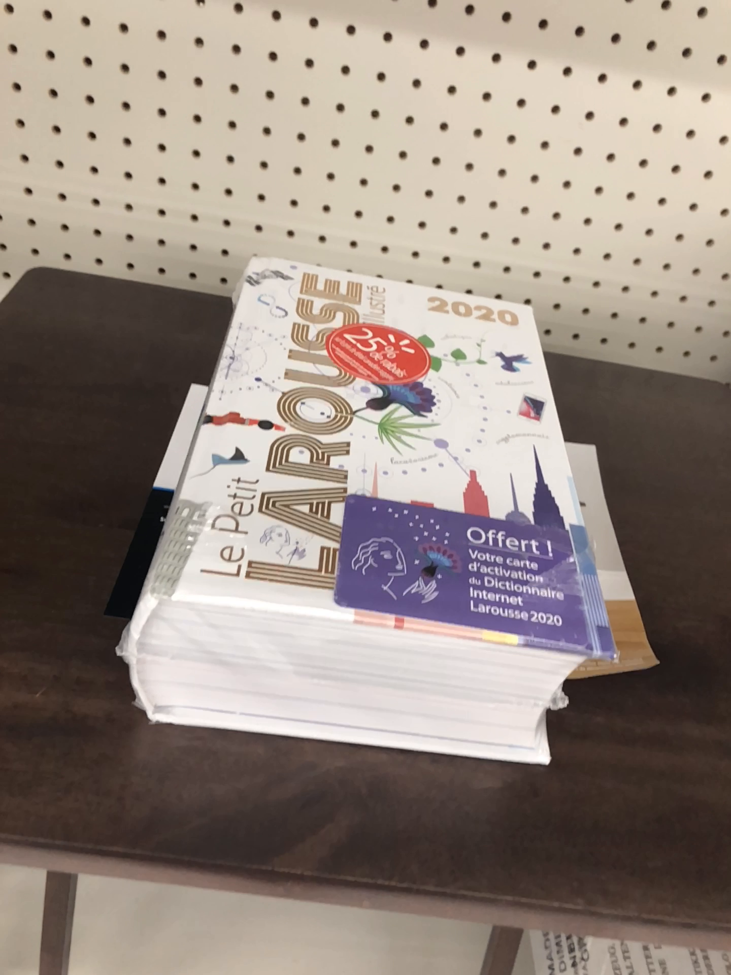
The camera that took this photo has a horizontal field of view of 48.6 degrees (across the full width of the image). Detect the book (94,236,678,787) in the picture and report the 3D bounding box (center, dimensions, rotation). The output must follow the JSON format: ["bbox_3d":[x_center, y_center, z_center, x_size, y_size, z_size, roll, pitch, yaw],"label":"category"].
[{"bbox_3d":[0.006,-0.009,0.342,0.170,0.069,0.232,8,41,-5],"label":"book"}]
